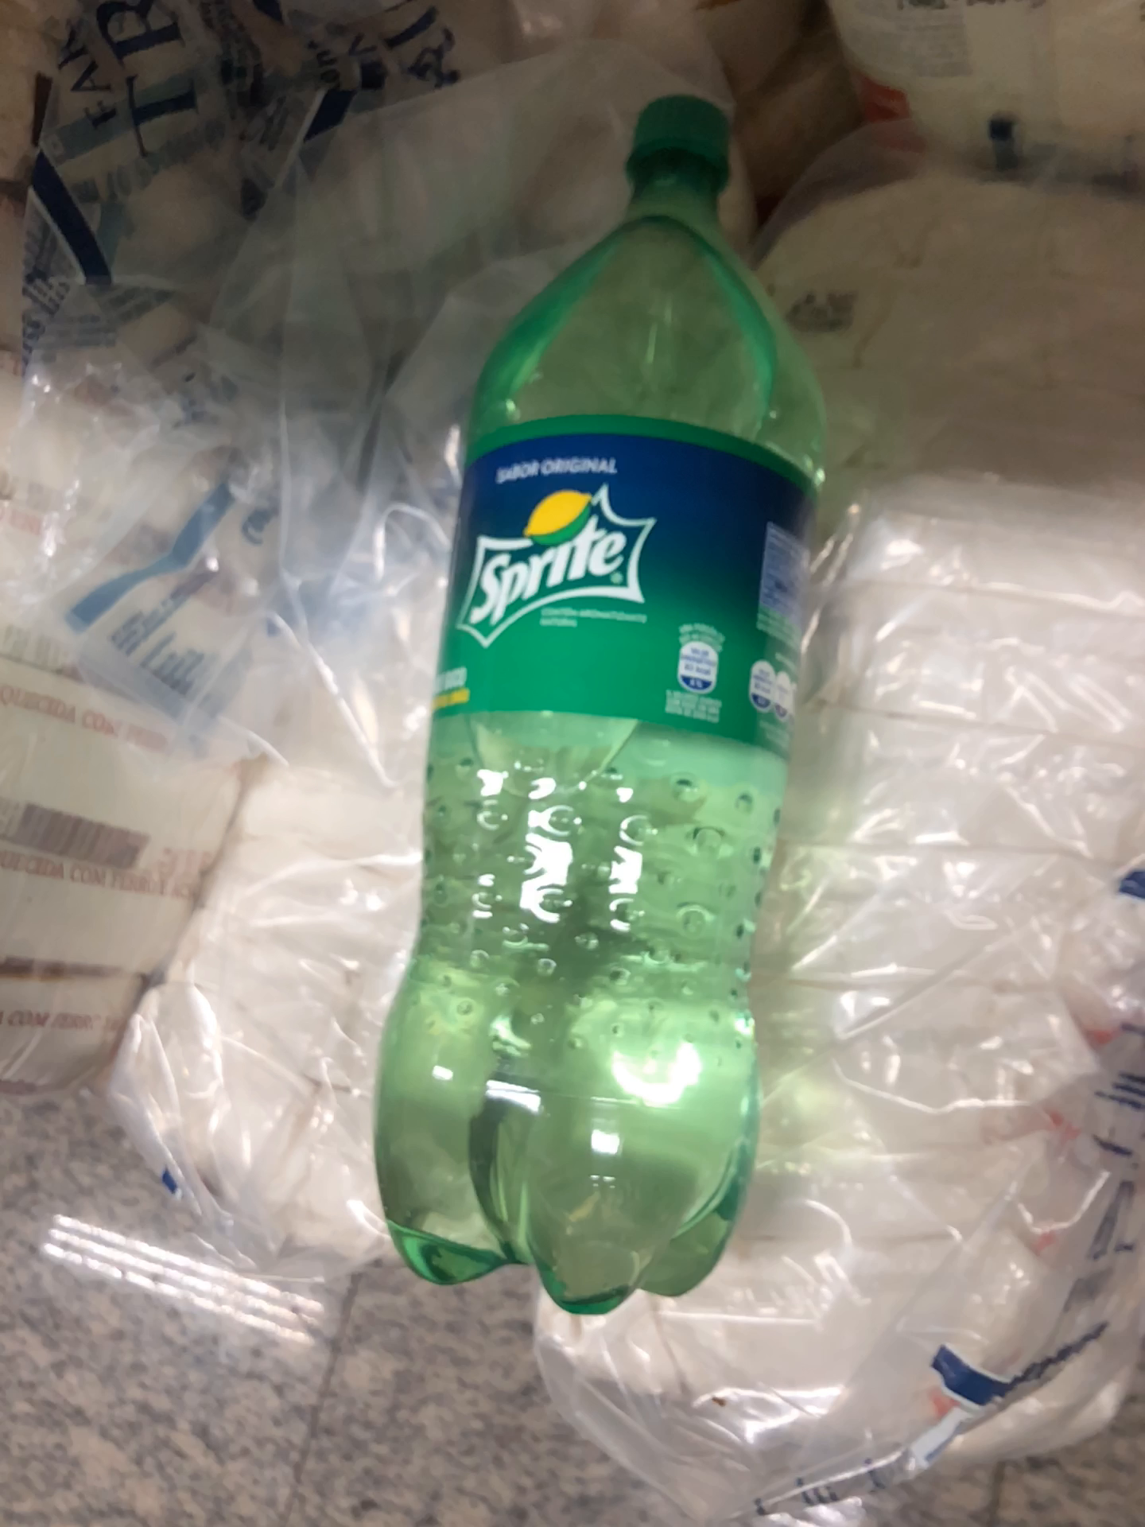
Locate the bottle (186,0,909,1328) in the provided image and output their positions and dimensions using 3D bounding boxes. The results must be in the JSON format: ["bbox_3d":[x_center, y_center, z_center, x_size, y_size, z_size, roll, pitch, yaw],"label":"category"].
[{"bbox_3d":[0.018,-0.060,0.360,0.110,0.110,0.381,3,71,21],"label":"bottle"}]
